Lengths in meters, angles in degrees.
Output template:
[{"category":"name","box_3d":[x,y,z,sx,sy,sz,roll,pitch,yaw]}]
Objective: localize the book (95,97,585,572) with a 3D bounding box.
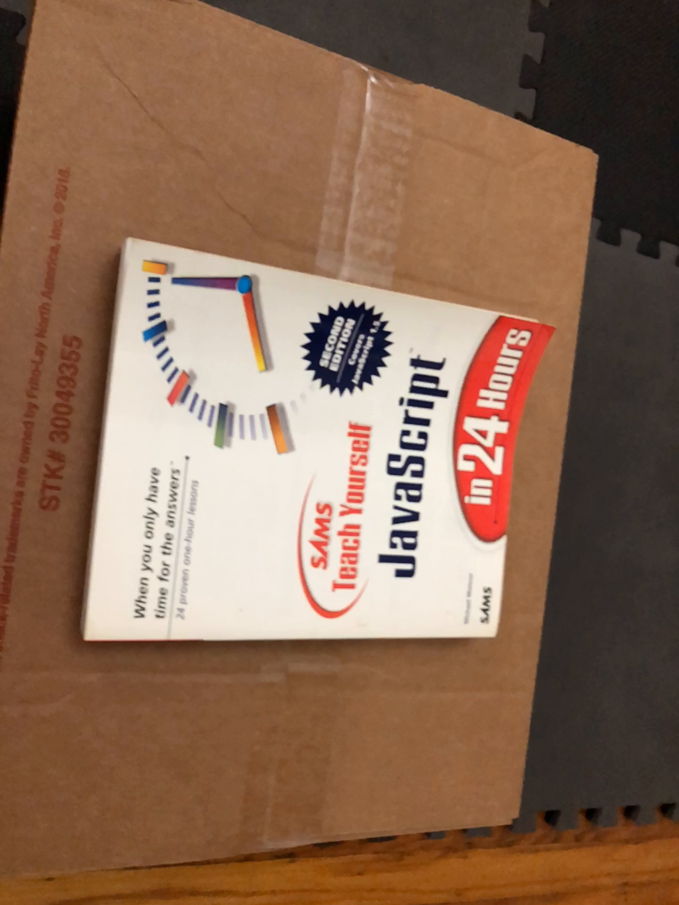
[{"category":"book","box_3d":[0.011,-0.044,0.389,0.240,0.030,0.200,6,90,-23]}]
